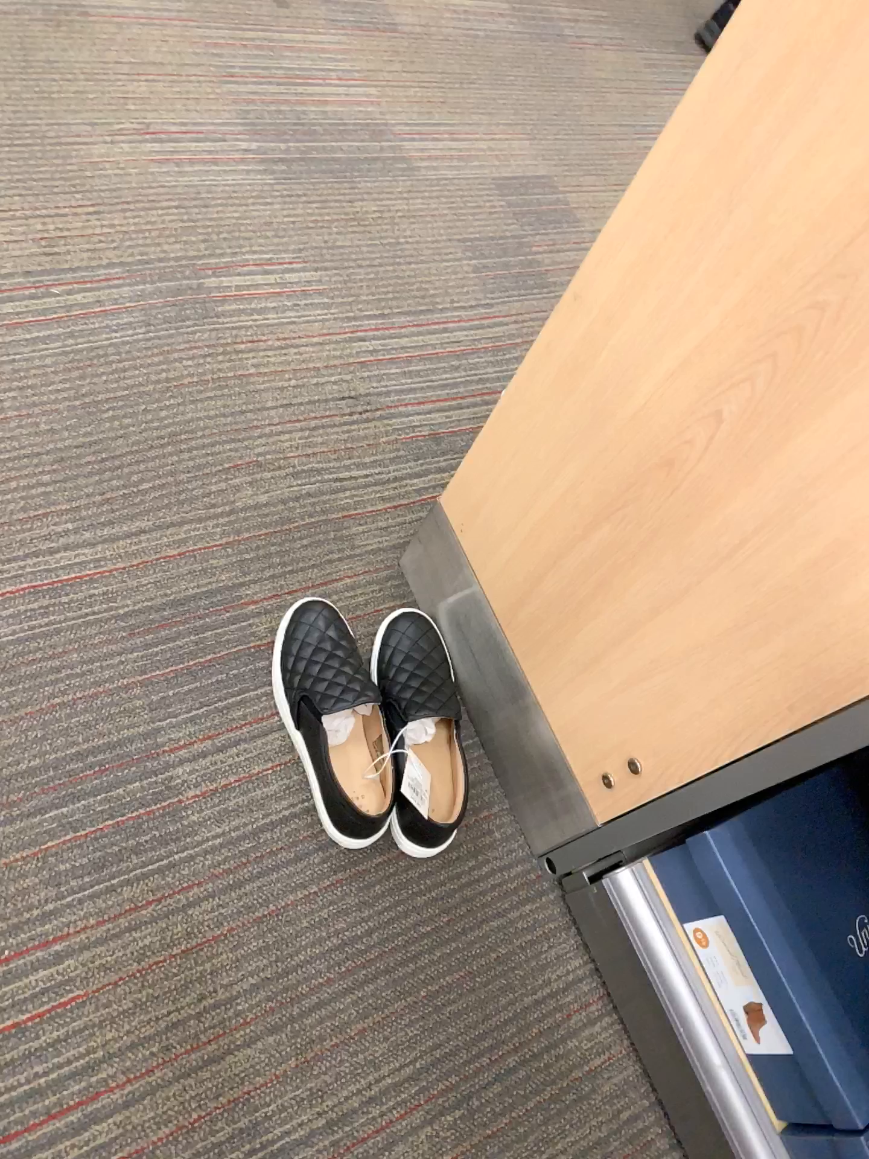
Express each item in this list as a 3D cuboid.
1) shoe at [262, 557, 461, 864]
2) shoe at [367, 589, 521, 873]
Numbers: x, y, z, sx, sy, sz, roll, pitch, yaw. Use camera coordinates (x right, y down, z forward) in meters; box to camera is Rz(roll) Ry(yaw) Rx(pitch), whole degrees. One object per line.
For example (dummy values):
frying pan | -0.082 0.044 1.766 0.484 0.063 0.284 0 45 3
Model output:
shoe | -0.078 0.121 0.855 0.100 0.100 0.260 -9 66 -25
shoe | 0.002 0.151 0.897 0.100 0.100 0.261 3 61 -20
